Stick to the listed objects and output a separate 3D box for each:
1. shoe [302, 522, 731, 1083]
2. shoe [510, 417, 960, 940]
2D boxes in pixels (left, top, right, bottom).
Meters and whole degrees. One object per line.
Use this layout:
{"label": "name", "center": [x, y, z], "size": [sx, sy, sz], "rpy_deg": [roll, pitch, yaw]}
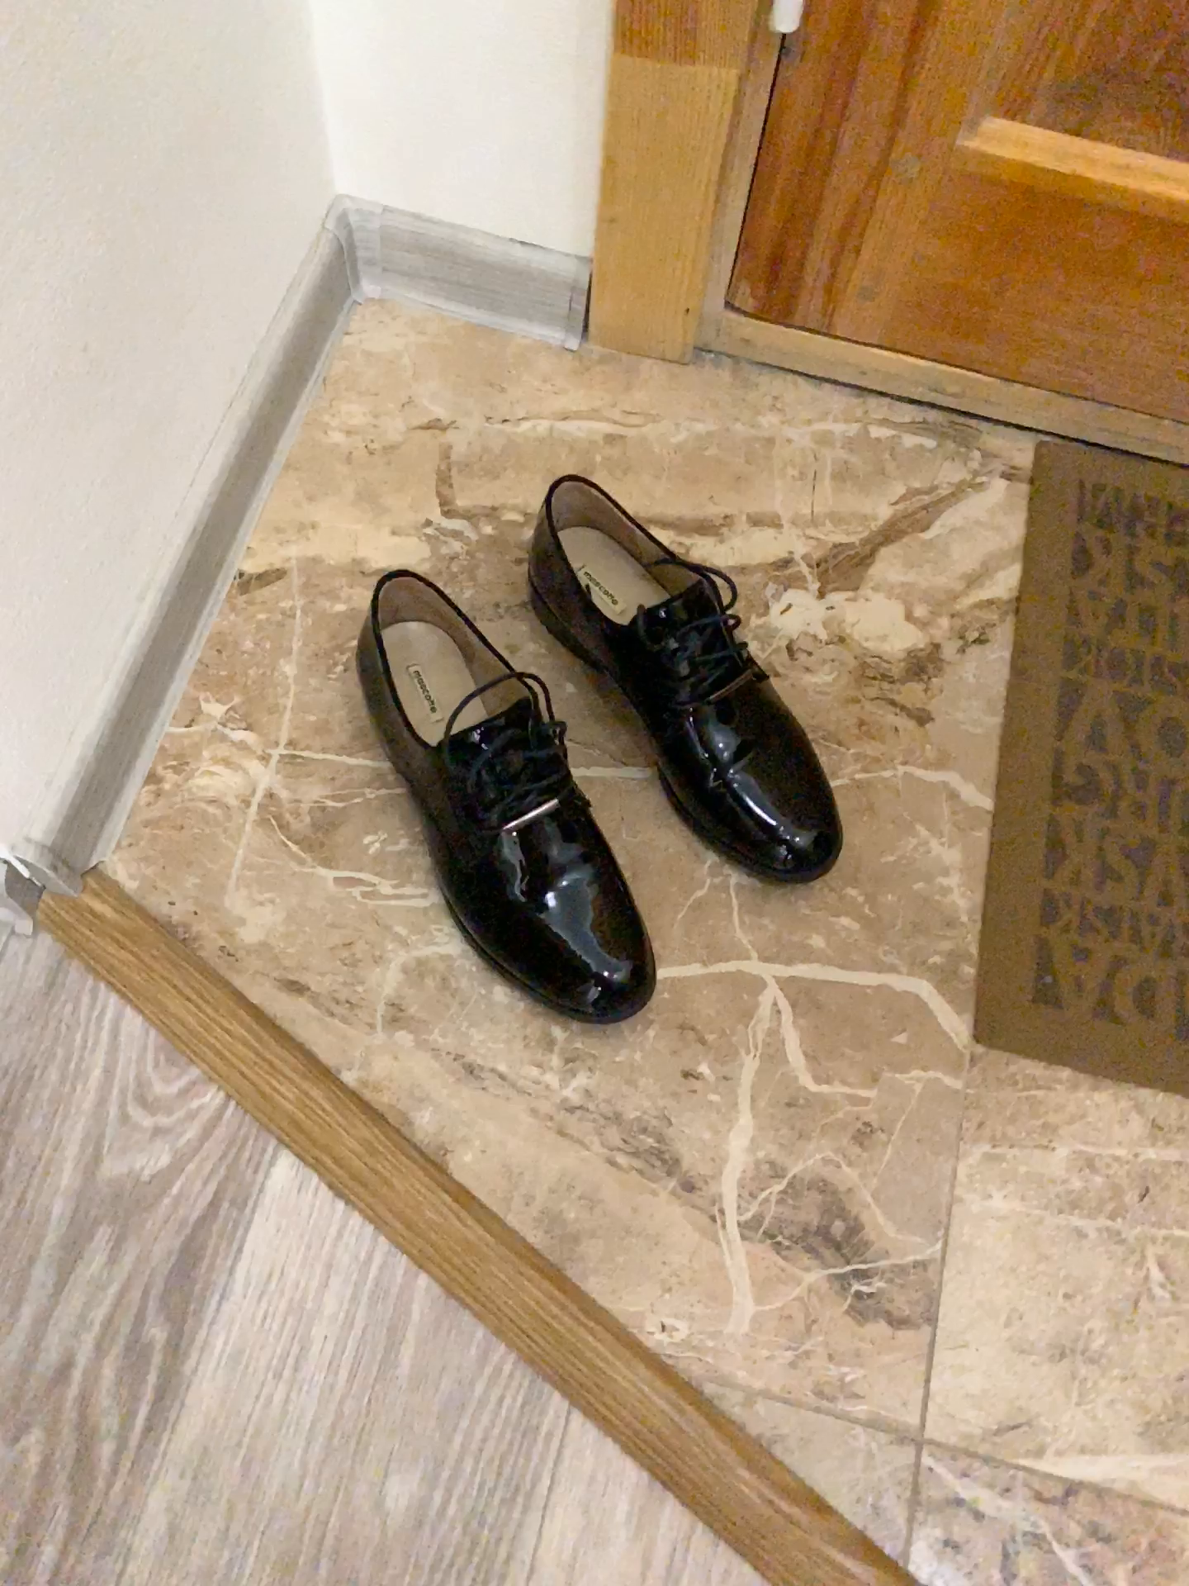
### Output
{"label": "shoe", "center": [-0.042, 0.005, 0.580], "size": [0.086, 0.110, 0.230], "rpy_deg": [-27, 70, -15]}
{"label": "shoe", "center": [0.058, -0.058, 0.620], "size": [0.090, 0.110, 0.230], "rpy_deg": [-31, 71, -17]}
